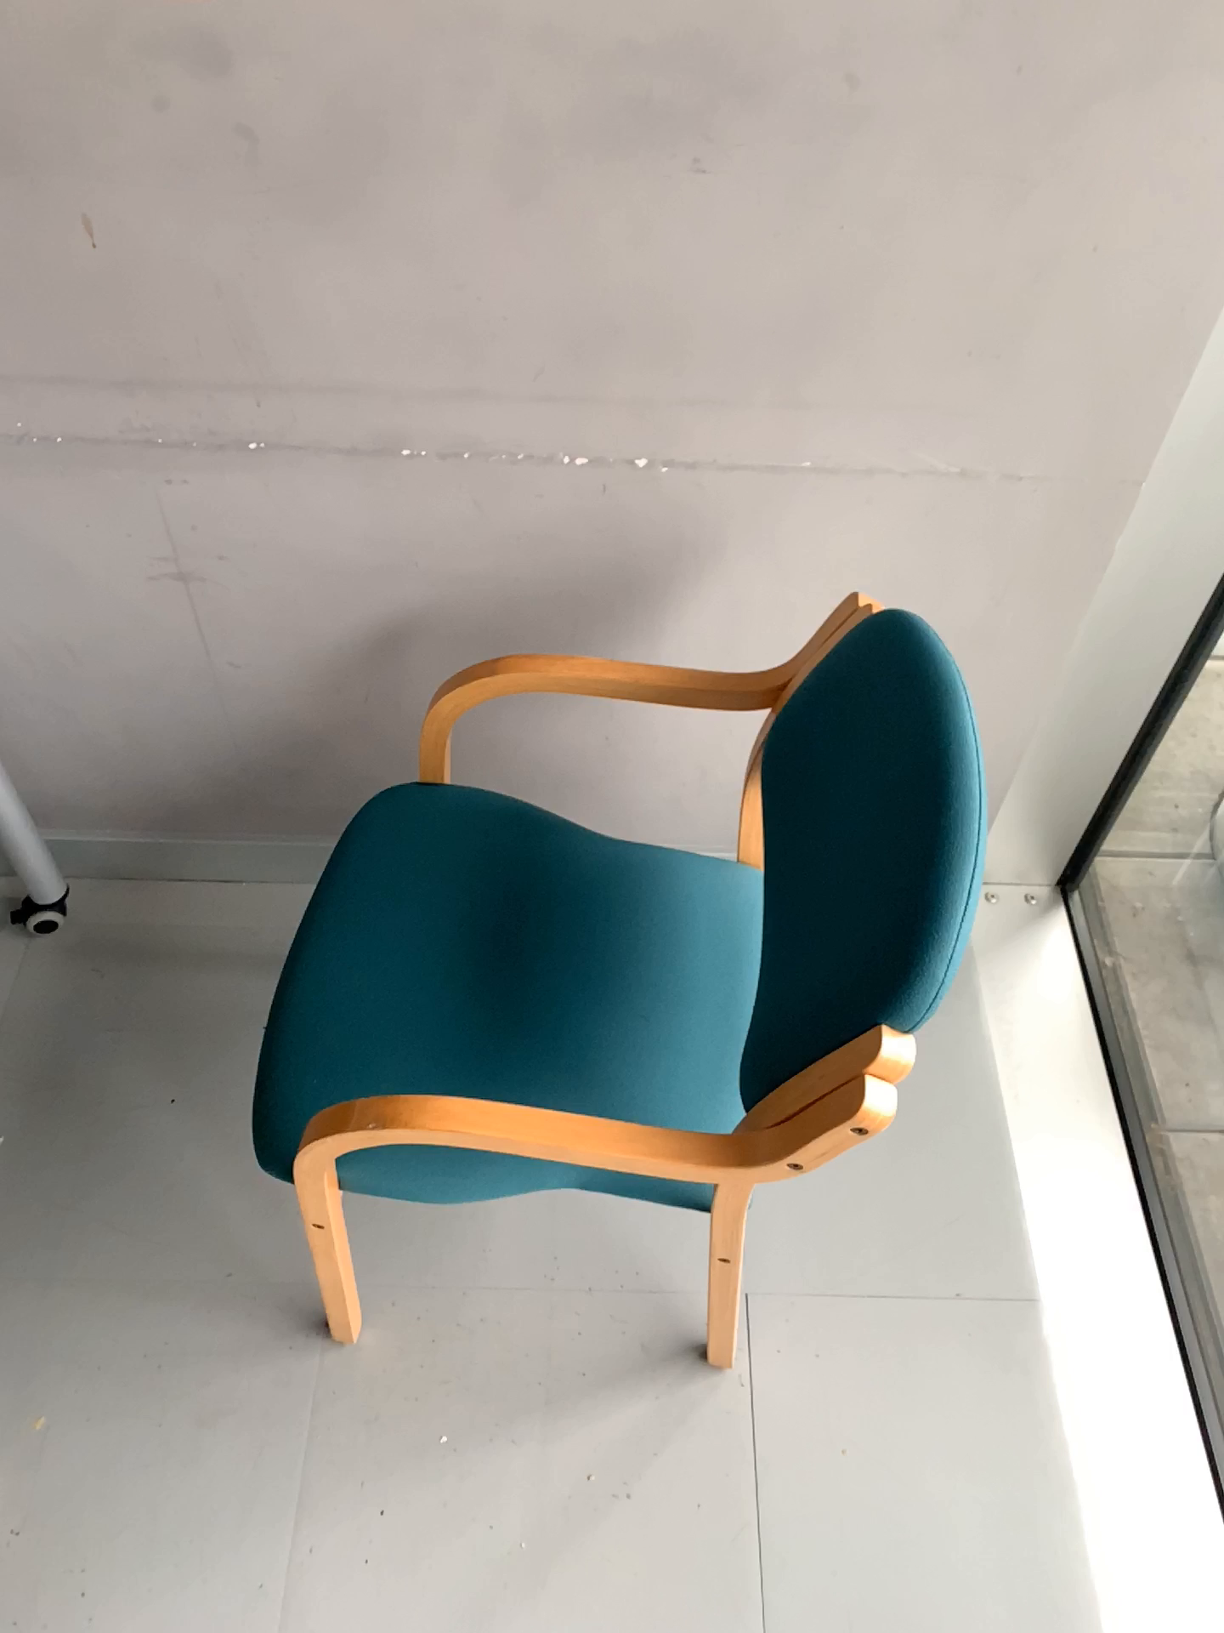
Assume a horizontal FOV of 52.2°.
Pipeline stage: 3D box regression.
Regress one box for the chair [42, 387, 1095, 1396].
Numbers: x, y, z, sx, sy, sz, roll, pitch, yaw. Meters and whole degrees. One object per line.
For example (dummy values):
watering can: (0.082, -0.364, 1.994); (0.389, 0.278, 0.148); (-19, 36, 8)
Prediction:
chair: (-0.025, 0.104, 1.255); (0.640, 0.724, 0.686); (3, 51, 0)
